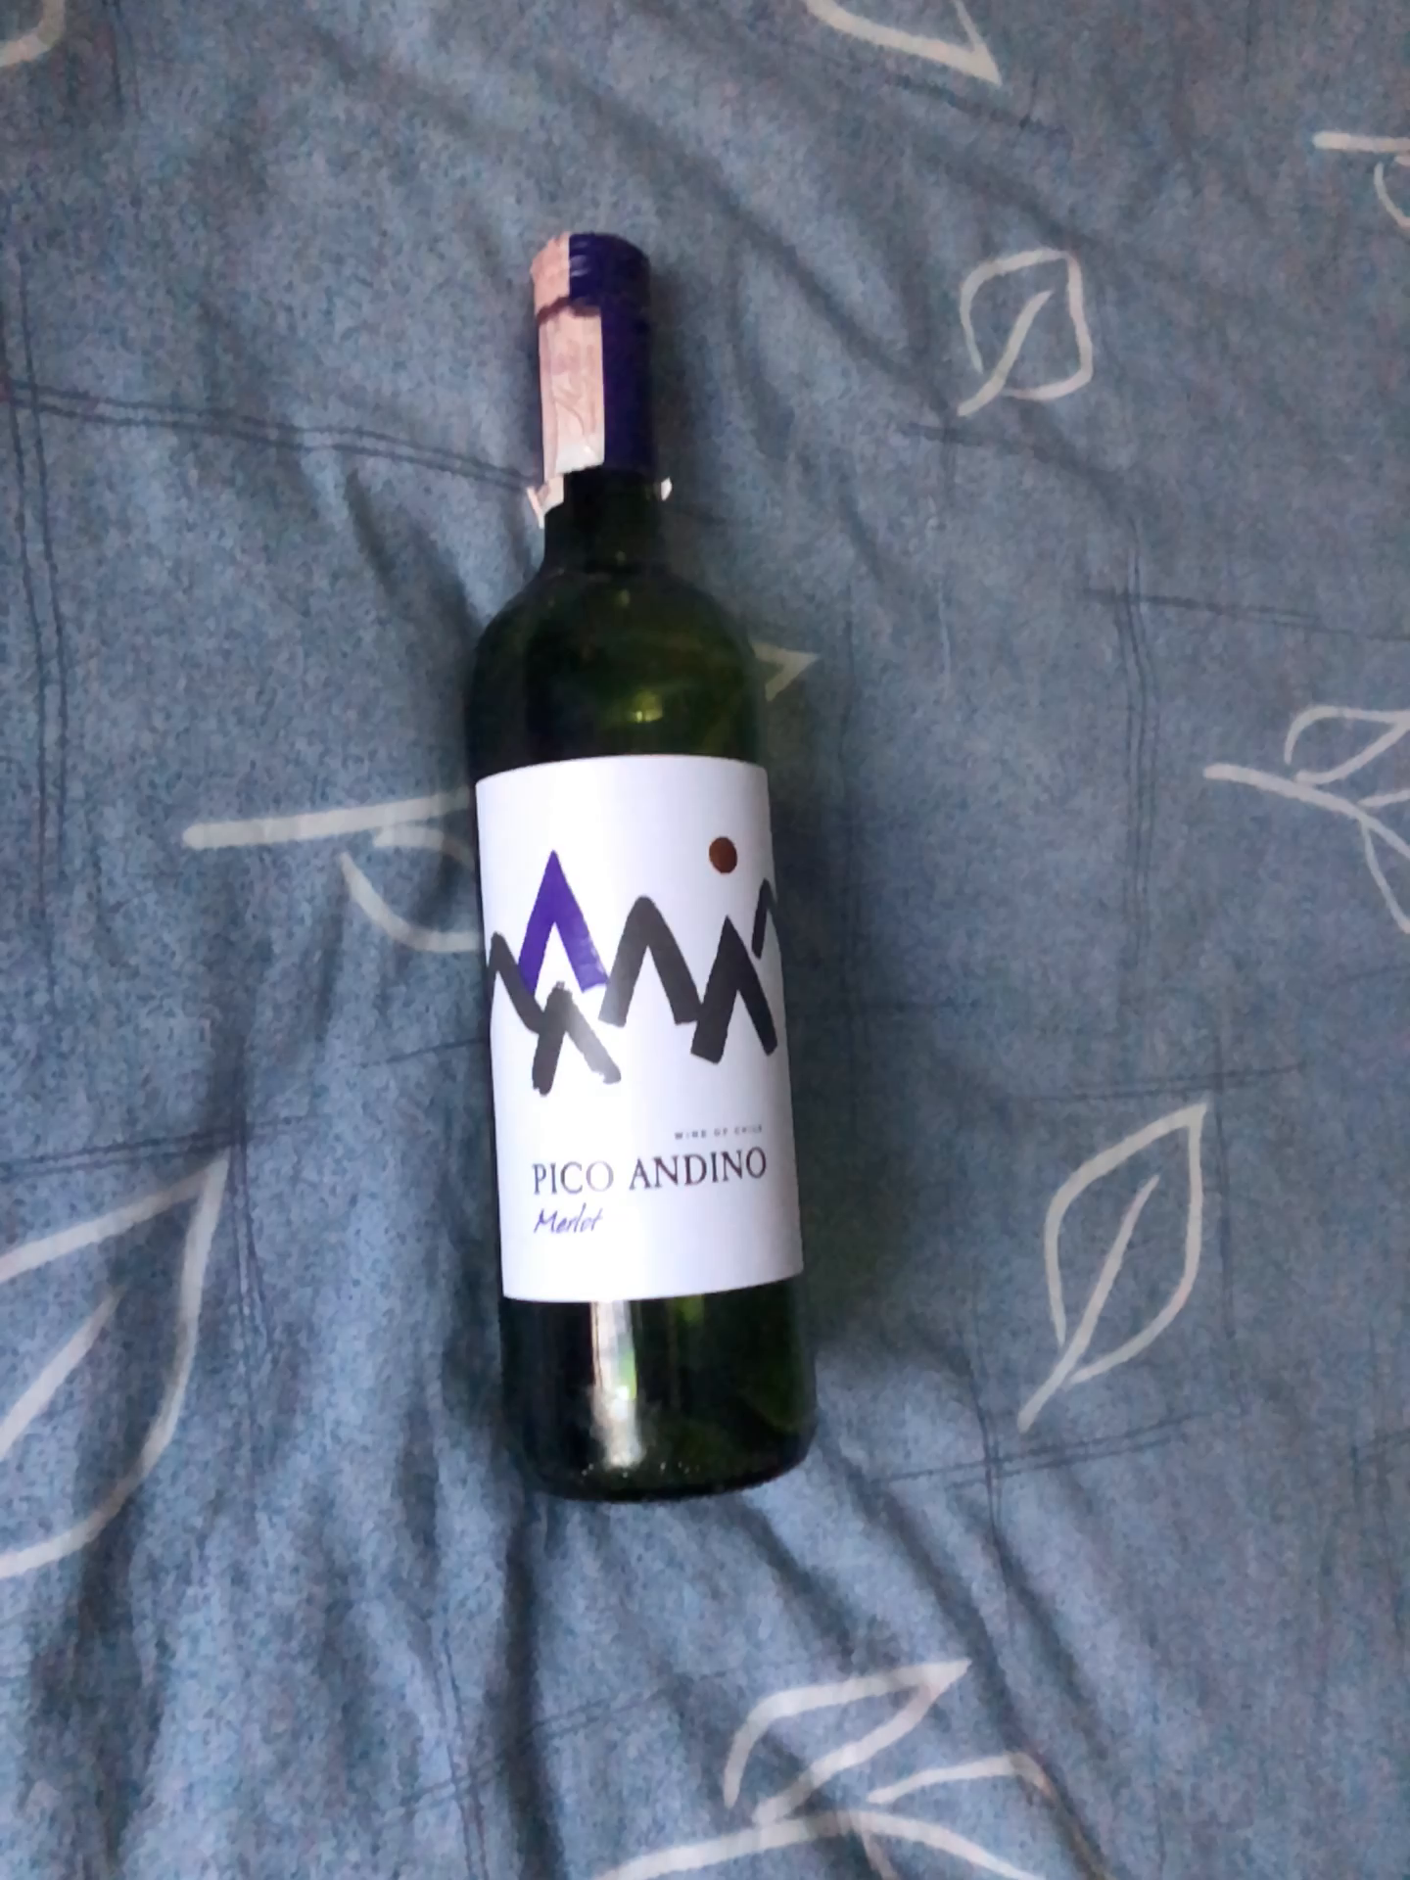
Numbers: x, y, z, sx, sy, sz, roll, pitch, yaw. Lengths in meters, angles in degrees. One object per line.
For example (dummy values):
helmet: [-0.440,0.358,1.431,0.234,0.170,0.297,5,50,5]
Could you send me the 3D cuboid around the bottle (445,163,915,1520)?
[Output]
bottle: [-0.012,-0.024,0.377,0.080,0.080,0.290,-3,85,-12]
